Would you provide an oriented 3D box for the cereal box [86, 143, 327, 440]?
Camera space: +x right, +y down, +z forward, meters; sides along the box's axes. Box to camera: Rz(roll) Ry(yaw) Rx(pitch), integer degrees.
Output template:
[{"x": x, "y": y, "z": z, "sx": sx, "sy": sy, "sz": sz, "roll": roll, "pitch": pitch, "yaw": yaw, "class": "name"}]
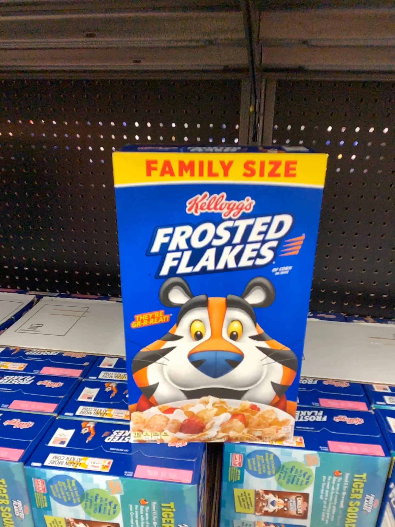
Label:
[{"x": 0.006, "y": 0.039, "z": 0.447, "sx": 0.210, "sy": 0.319, "sz": 0.080, "roll": 1, "pitch": 21, "yaw": 0, "class": "cereal box"}]
